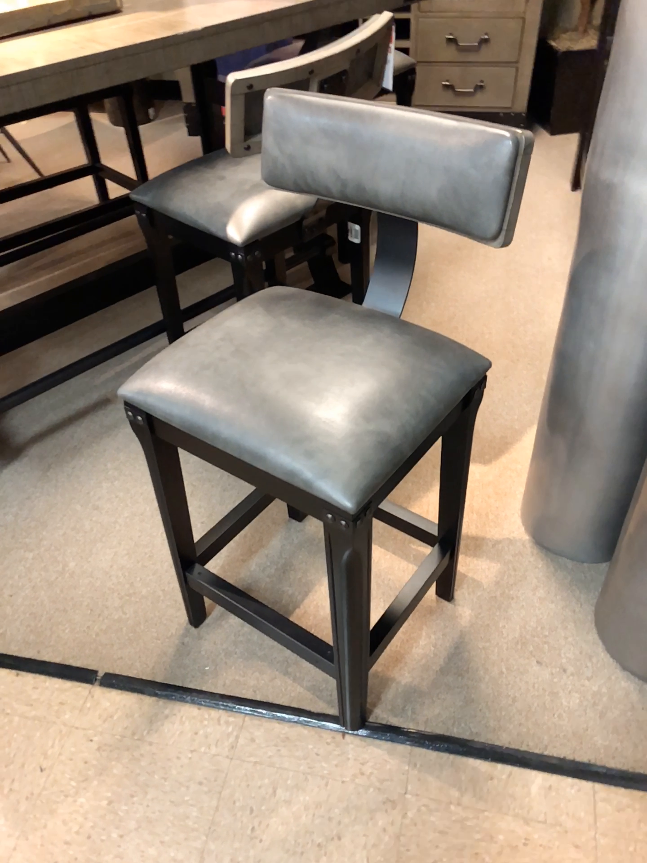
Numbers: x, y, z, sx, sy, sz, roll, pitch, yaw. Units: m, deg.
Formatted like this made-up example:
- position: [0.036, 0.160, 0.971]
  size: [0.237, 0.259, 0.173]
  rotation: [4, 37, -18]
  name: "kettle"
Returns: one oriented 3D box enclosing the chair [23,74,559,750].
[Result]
- position: [-0.007, -0.006, 1.112]
  size: [0.441, 0.864, 0.462]
  rotation: [24, 48, 27]
  name: "chair"
